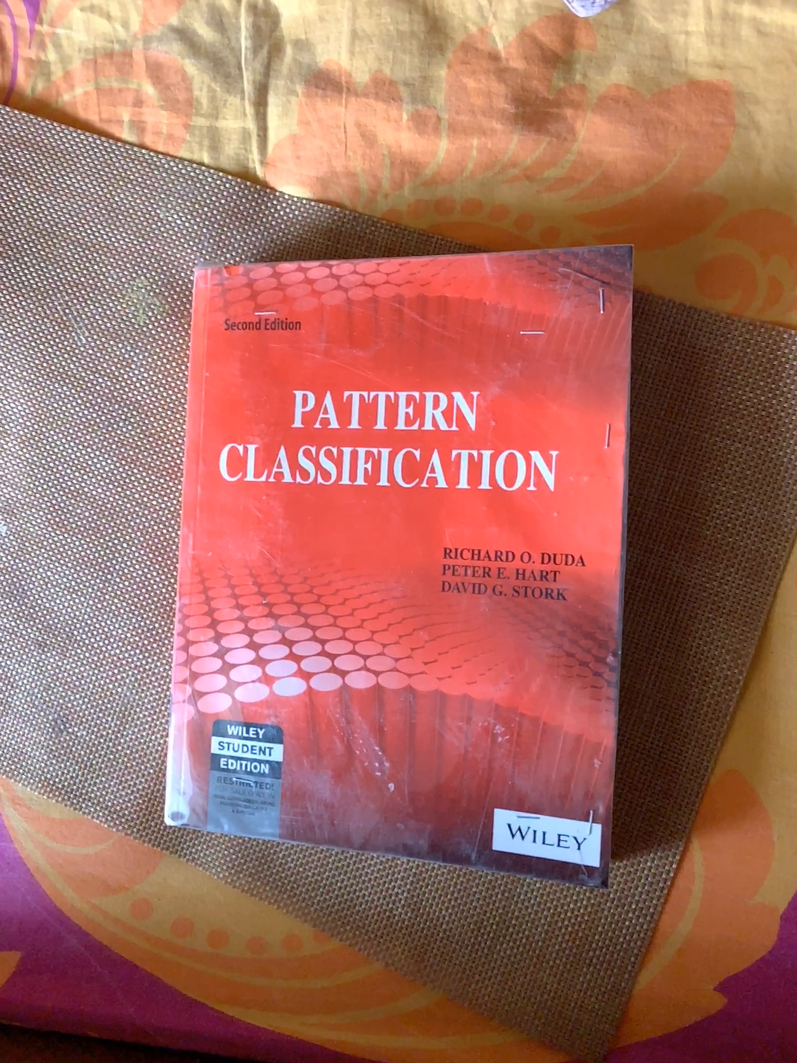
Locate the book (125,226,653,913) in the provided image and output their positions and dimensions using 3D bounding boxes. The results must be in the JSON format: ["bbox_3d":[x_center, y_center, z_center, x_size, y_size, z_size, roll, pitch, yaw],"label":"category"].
[{"bbox_3d":[-0.005,0.007,0.315,0.180,0.040,0.230,3,88,13],"label":"book"}]
